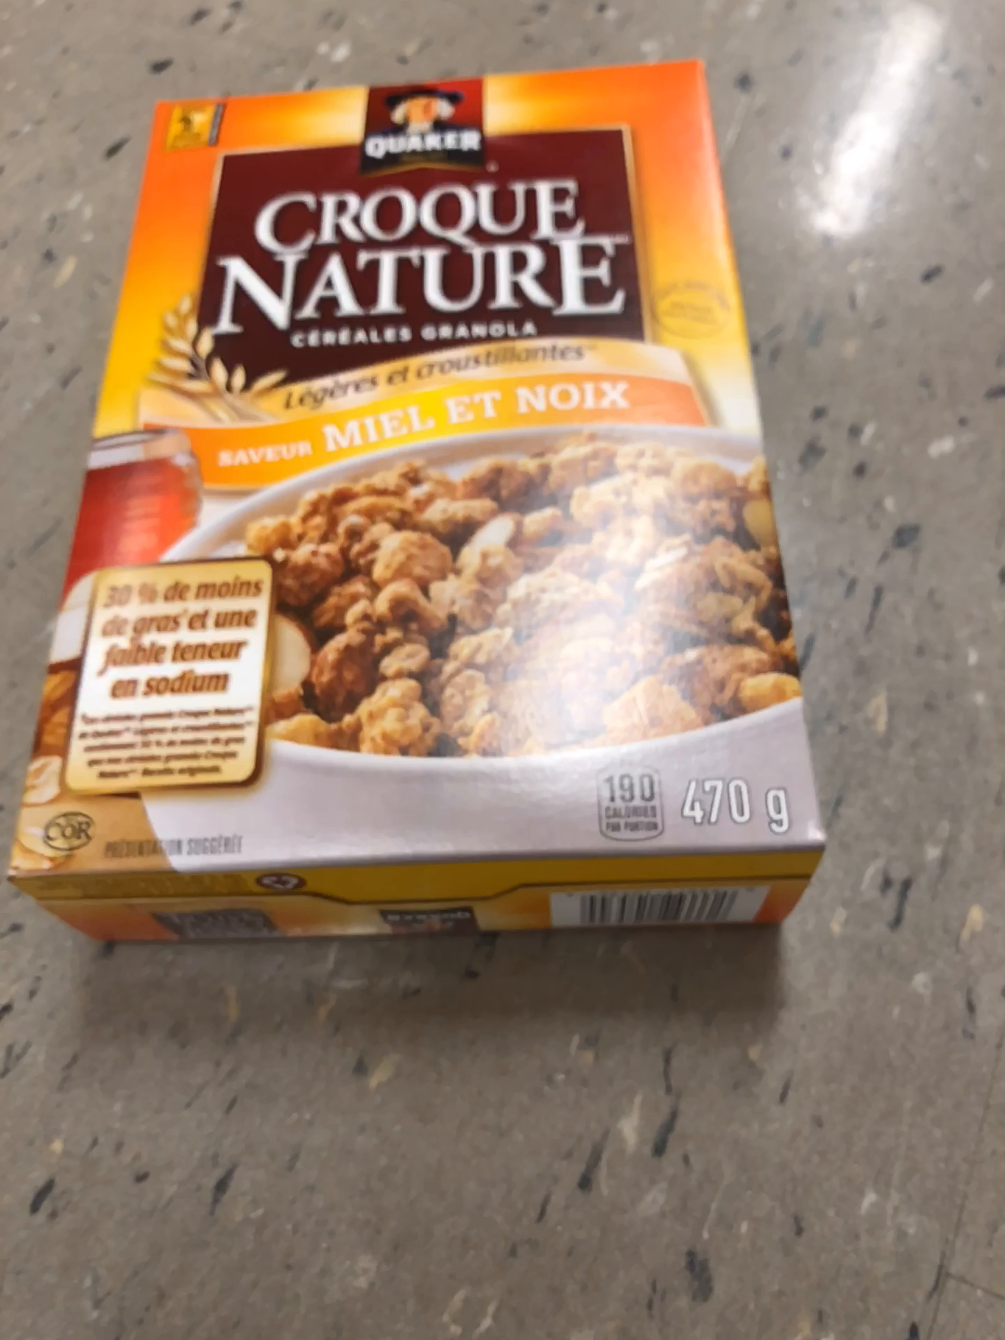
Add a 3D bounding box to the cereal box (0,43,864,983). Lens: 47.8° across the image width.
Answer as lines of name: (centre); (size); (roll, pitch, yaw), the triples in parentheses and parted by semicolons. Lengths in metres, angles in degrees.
cereal box: (-0.015, -0.051, 0.286); (0.160, 0.050, 0.240); (-3, 63, 3)
